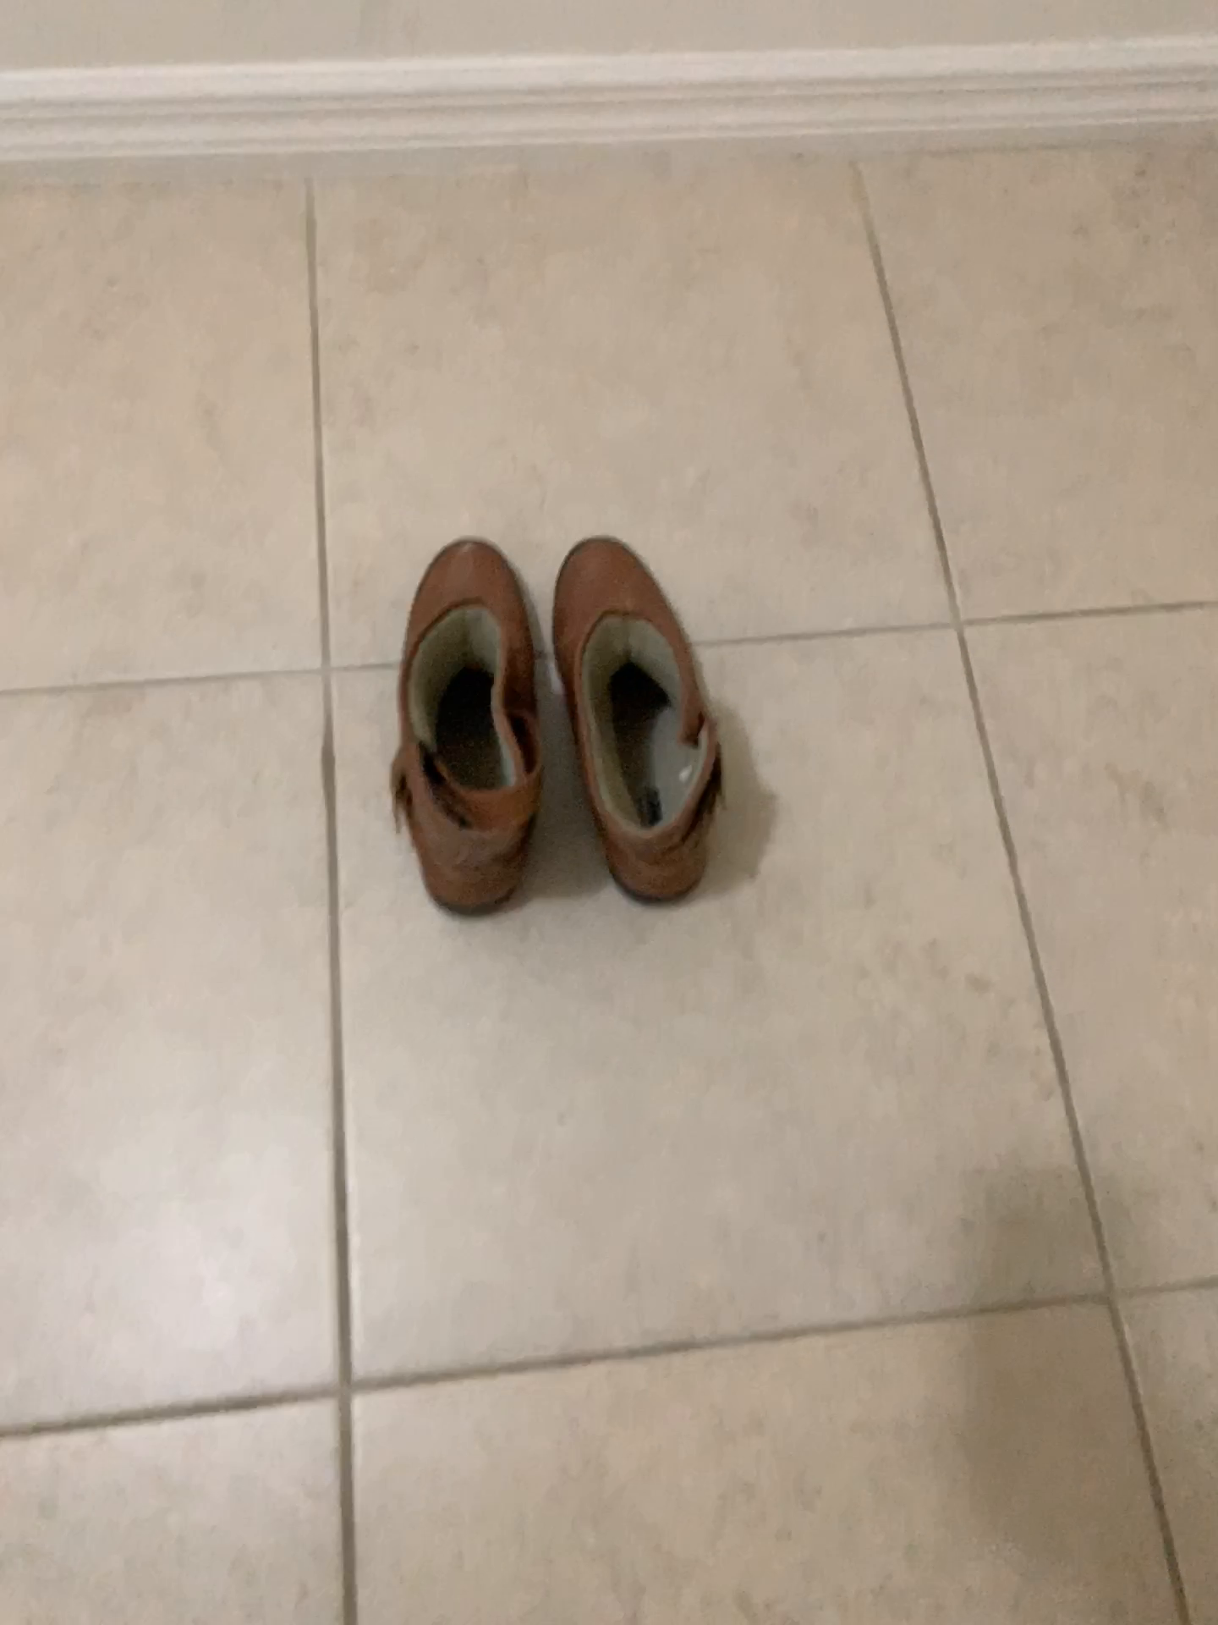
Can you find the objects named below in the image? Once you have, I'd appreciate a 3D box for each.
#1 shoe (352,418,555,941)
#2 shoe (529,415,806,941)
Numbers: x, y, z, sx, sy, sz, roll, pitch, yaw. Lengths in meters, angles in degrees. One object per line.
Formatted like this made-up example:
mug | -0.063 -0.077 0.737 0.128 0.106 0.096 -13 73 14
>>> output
shoe | -0.089 -0.070 0.734 0.094 0.193 0.247 -4 70 -4
shoe | 0.023 -0.075 0.752 0.107 0.173 0.260 -8 71 -6
